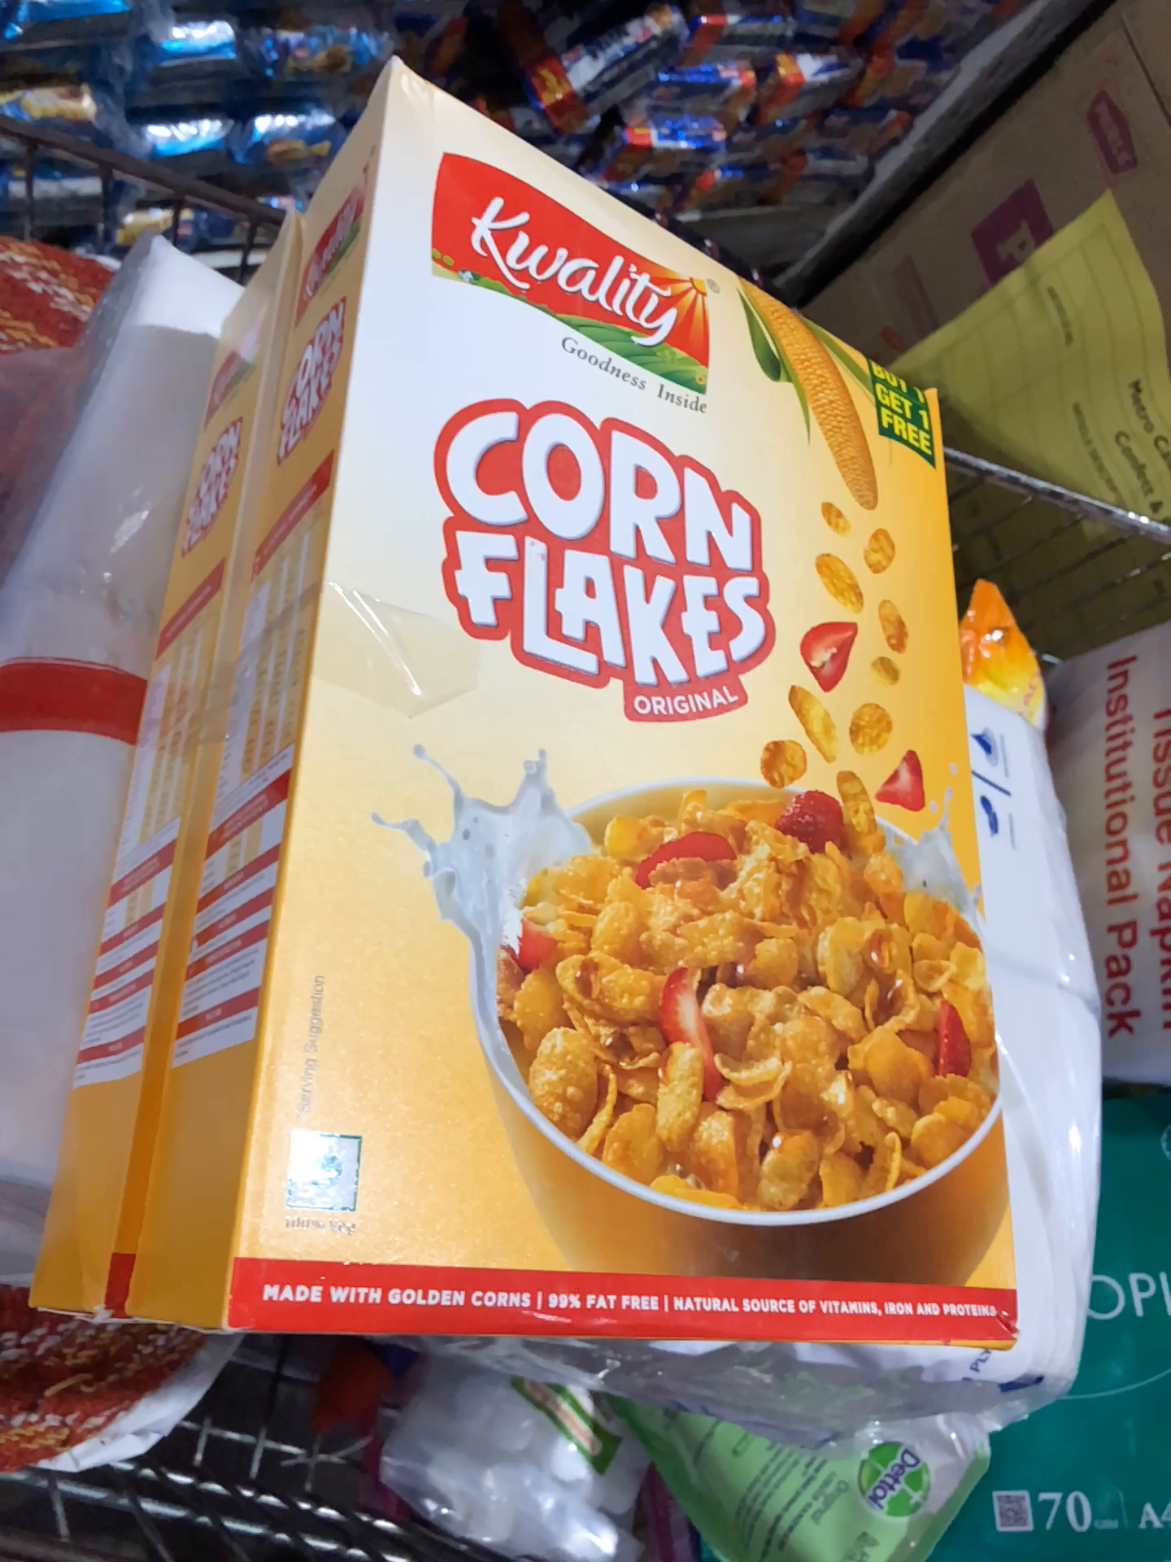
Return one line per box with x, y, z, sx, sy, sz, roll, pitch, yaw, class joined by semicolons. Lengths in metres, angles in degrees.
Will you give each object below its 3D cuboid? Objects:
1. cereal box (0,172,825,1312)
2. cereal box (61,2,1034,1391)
-0.032;0.003;0.359;0.200;0.070;0.261;16;67;-32;cereal box
0.009;-0.009;0.299;0.190;0.060;0.261;16;67;-32;cereal box
